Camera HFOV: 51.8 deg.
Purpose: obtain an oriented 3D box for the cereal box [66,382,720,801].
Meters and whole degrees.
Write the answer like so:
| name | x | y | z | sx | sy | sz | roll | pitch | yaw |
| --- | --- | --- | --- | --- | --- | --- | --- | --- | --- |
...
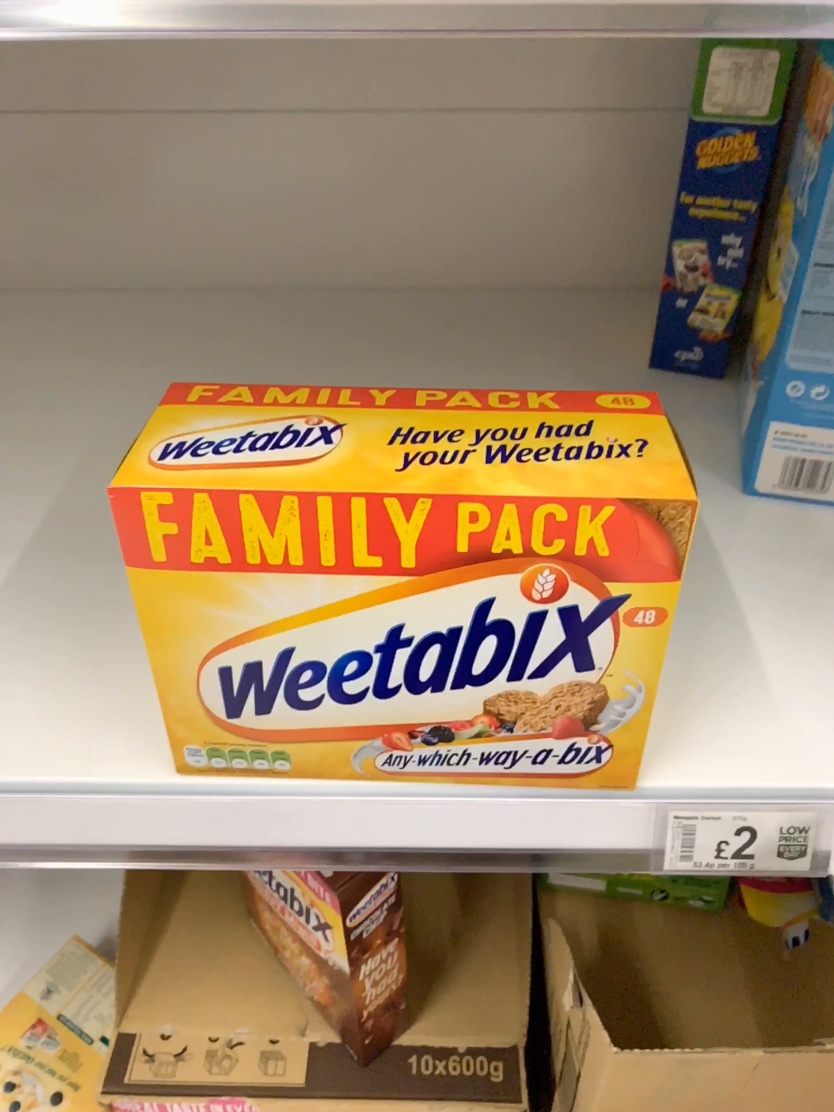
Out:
| name | x | y | z | sx | sy | sz | roll | pitch | yaw |
| --- | --- | --- | --- | --- | --- | --- | --- | --- | --- |
| cereal box | -0.009 | 0.022 | 0.434 | 0.260 | 0.188 | 0.091 | 2 | 37 | 2 |
